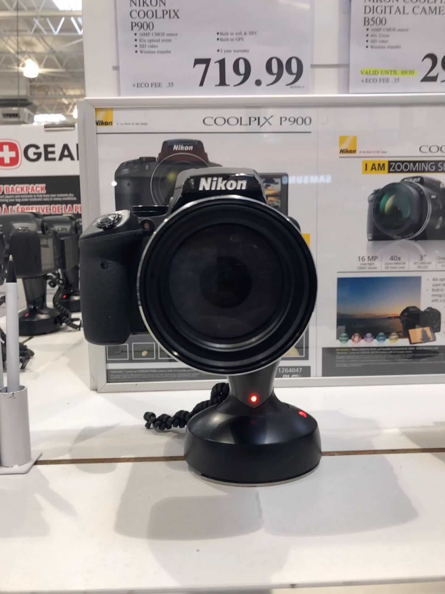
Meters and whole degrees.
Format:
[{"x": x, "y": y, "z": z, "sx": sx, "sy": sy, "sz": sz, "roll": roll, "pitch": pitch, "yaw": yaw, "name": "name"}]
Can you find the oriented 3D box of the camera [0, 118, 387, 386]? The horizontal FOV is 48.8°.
[{"x": -0.014, "y": -0.026, "z": 0.258, "sx": 0.150, "sy": 0.100, "sz": 0.140, "roll": -1, "pitch": 8, "yaw": -1, "name": "camera"}]
